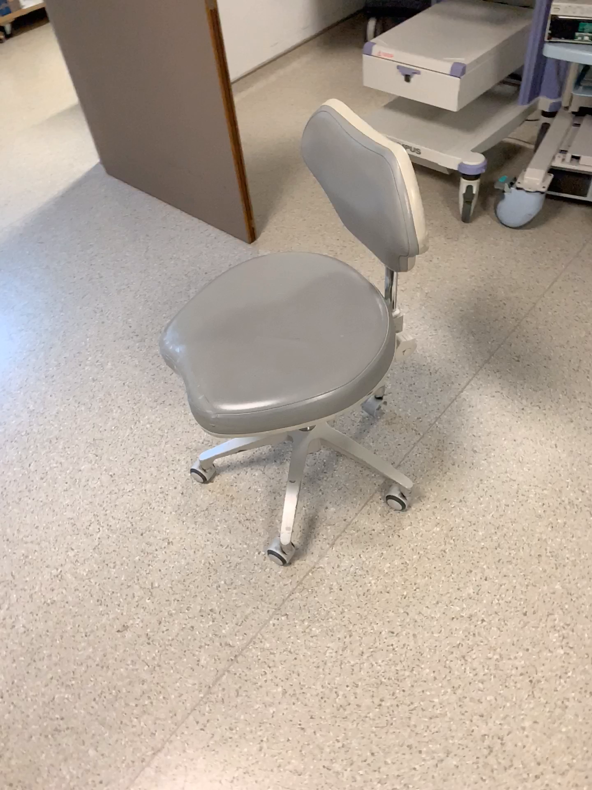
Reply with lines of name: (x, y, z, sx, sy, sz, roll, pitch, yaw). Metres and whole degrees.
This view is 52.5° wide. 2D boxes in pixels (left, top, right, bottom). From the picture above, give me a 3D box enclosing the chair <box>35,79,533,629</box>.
chair: (-0.023, -0.068, 1.290, 0.601, 0.823, 0.604, -27, 51, -15)
